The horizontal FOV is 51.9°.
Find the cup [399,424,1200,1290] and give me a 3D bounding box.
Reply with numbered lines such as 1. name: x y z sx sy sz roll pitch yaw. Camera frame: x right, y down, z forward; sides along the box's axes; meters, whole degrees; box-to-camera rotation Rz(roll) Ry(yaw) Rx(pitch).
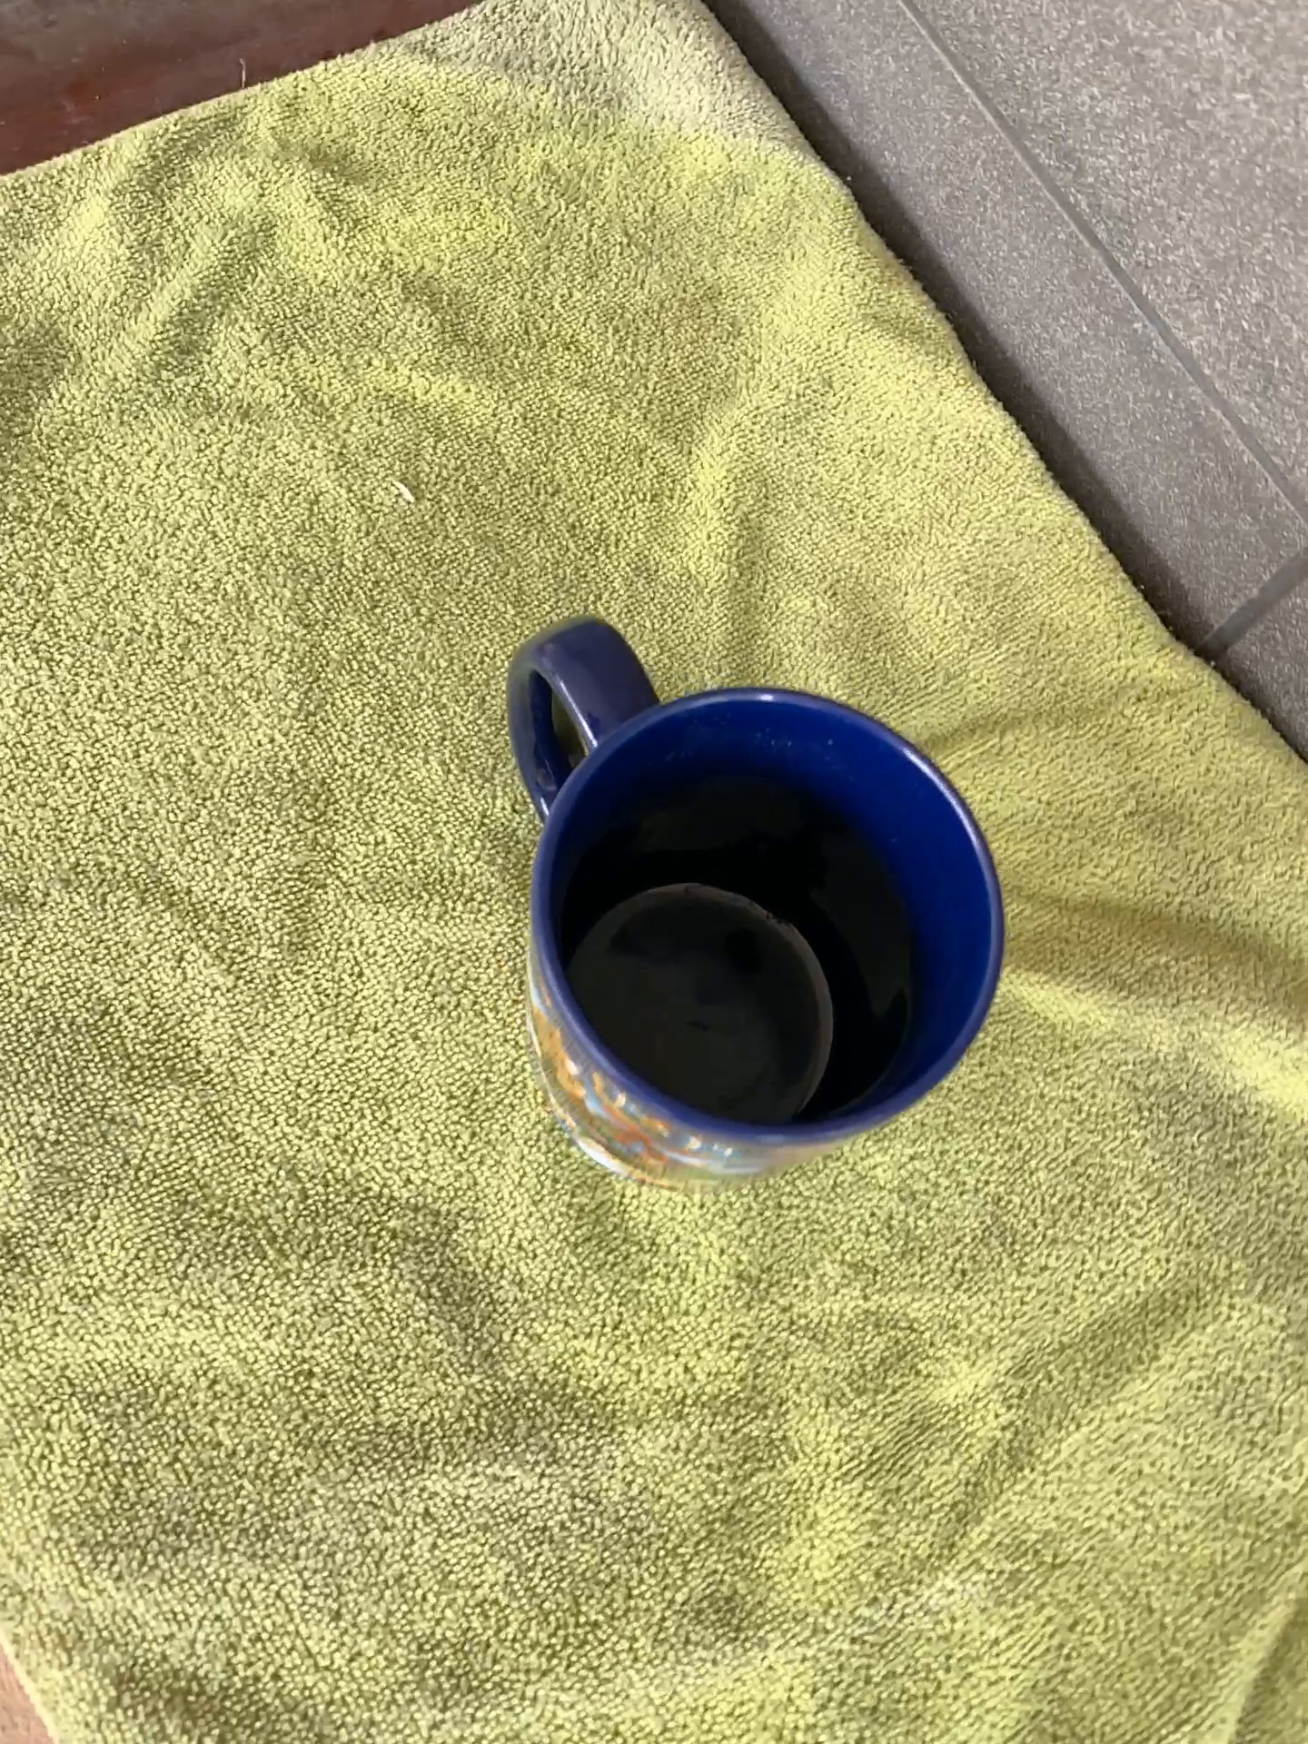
1. cup: 0.017 0.005 0.283 0.090 0.110 0.130 -23 76 -13
